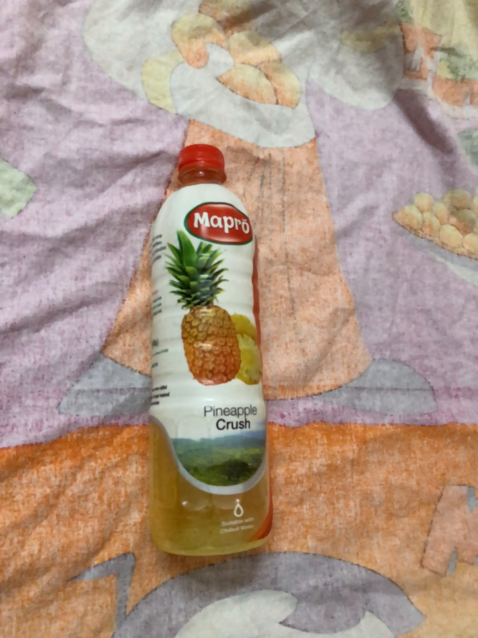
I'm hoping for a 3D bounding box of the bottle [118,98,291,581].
[{"bbox_3d":[-0.023,0.008,0.315,0.080,0.060,0.250,4,80,-26],"label":"bottle"}]
